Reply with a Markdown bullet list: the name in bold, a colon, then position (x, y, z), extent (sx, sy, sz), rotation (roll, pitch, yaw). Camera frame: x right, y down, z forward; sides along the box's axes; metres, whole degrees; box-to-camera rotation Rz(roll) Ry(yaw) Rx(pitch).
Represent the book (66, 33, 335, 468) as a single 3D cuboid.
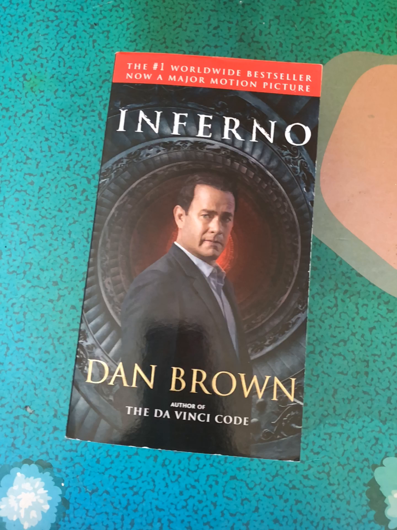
- **book**: position (0.005, -0.010, 0.240), extent (0.110, 0.060, 0.200), rotation (5, 82, 0)
